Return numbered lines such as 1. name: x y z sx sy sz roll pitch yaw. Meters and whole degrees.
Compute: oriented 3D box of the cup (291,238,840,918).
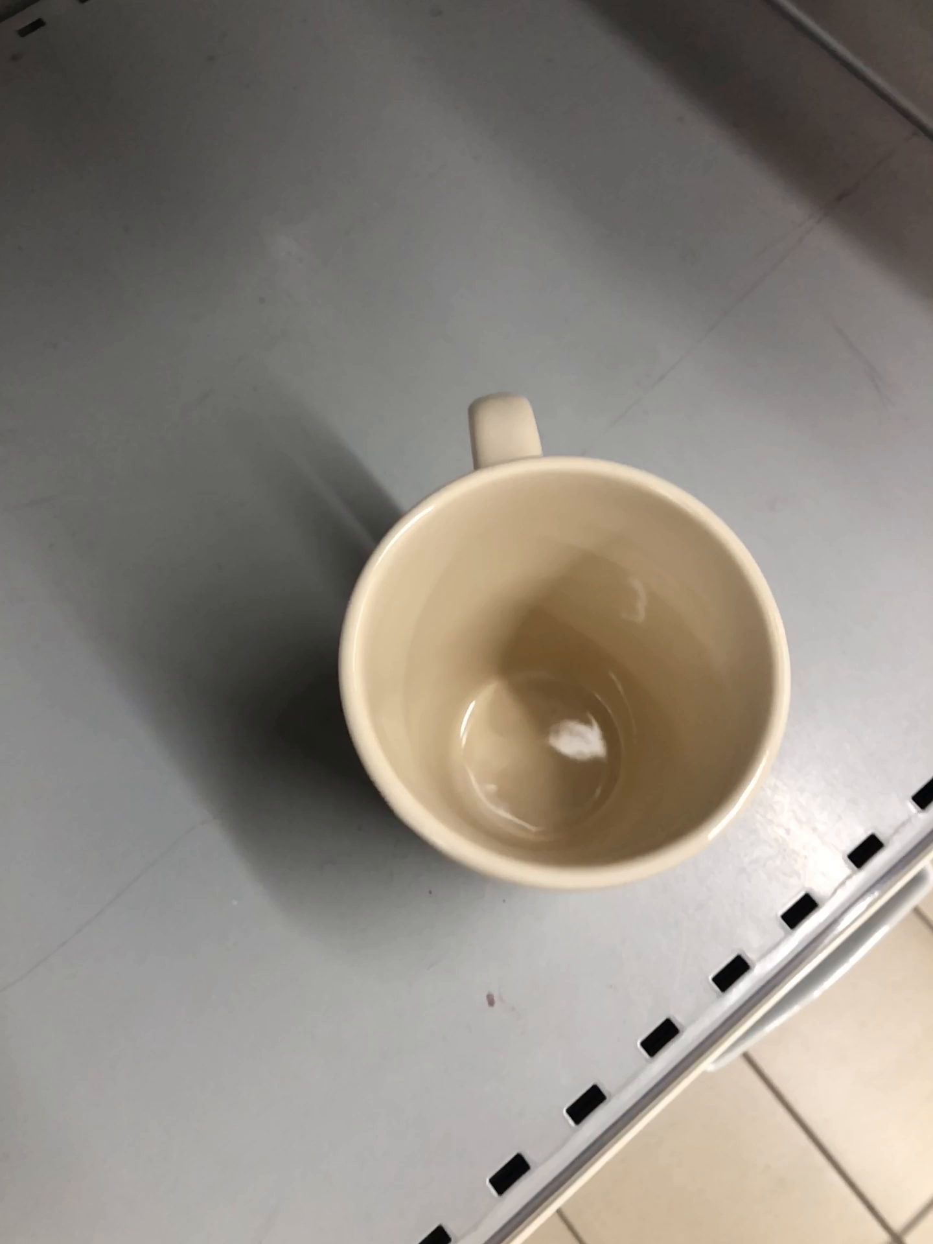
1. cup: 0.014 -0.001 0.237 0.082 0.100 0.119 -7 73 -3
